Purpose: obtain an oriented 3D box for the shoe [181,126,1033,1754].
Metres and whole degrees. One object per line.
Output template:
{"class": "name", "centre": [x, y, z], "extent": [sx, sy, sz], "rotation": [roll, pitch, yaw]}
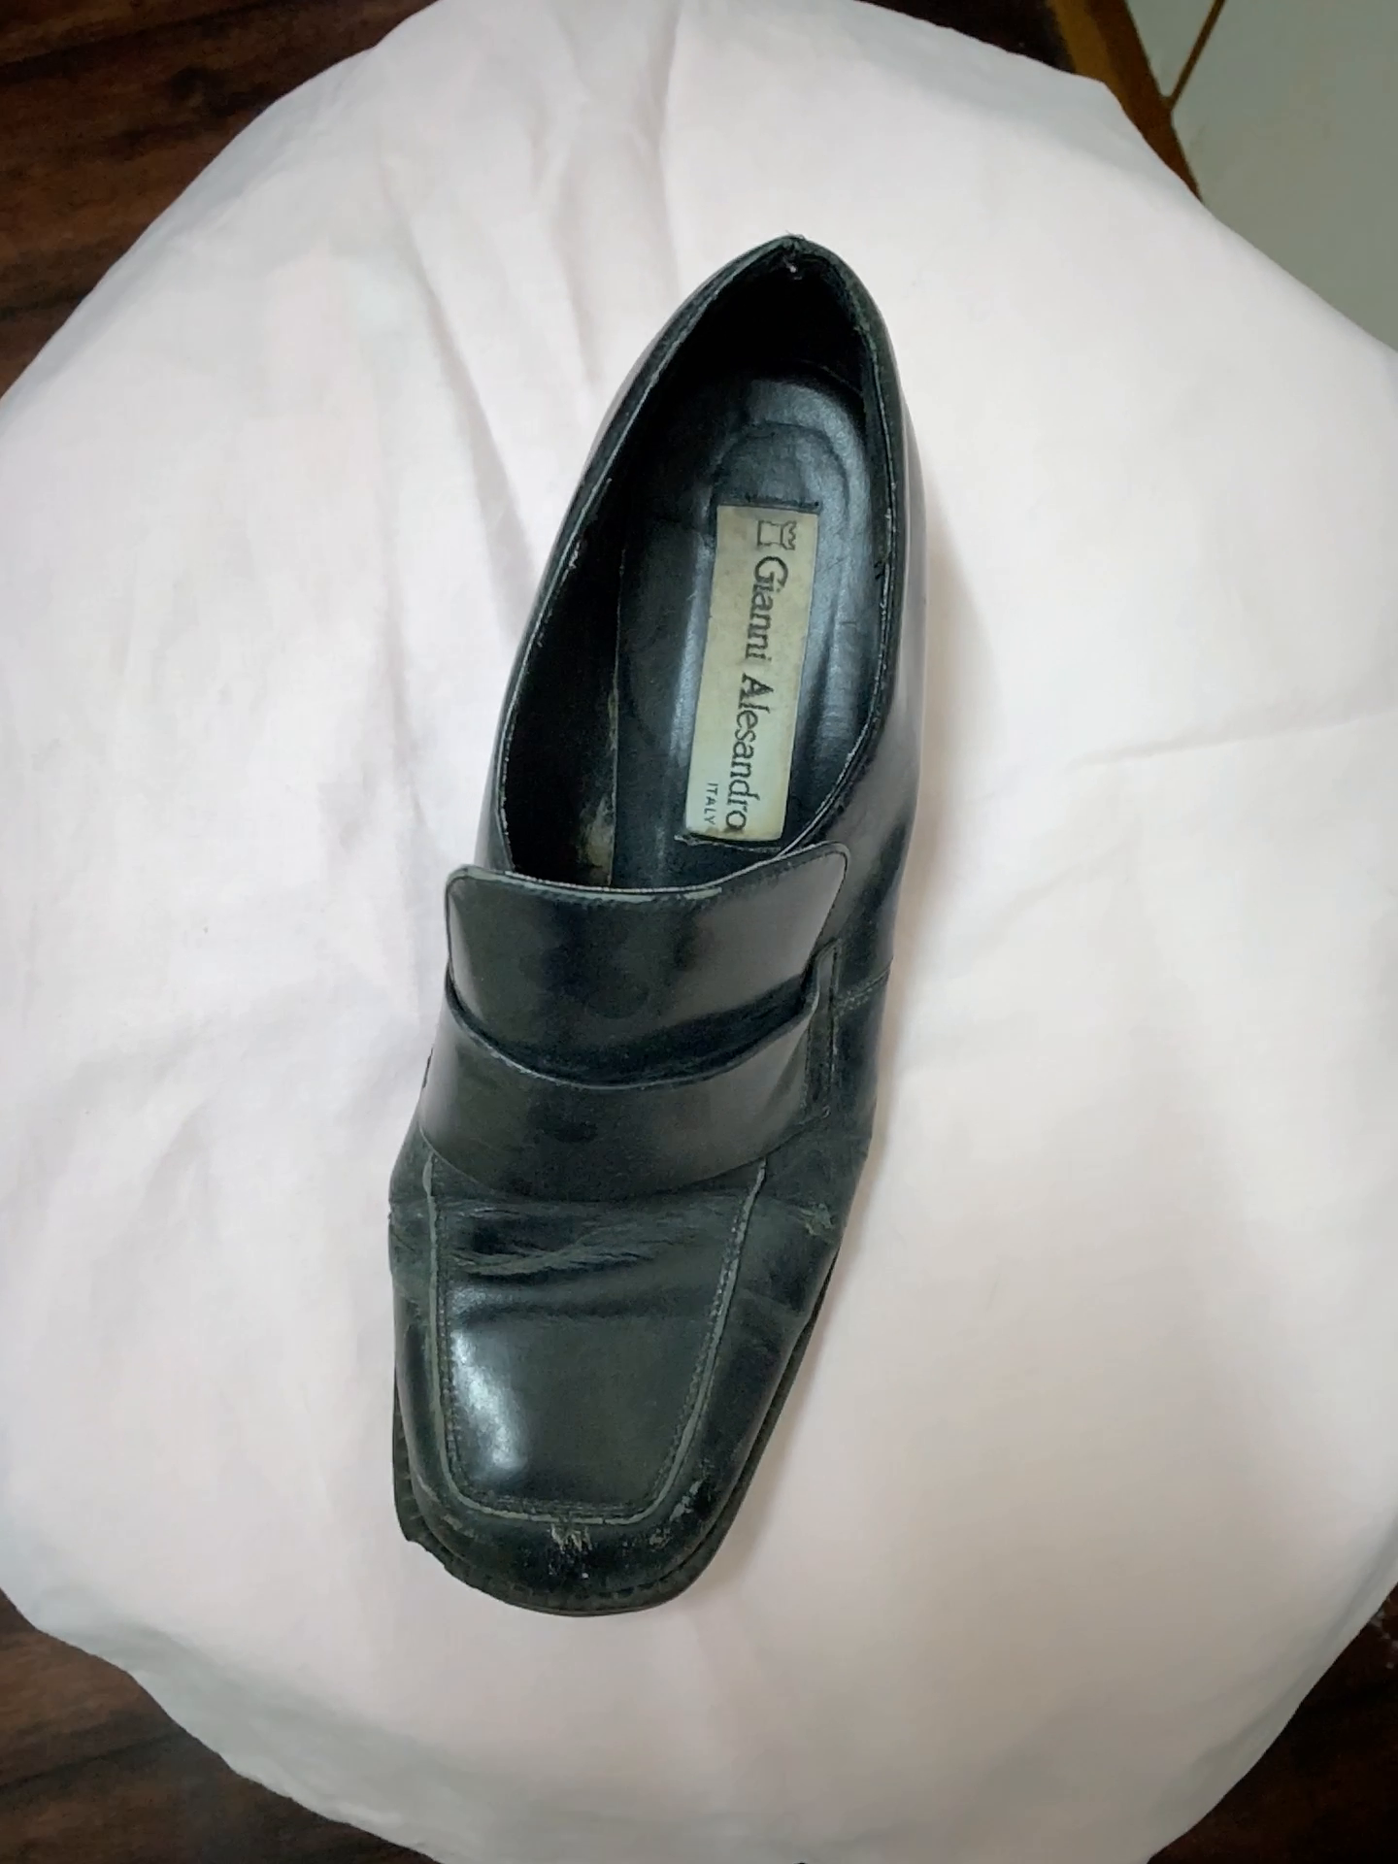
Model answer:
{"class": "shoe", "centre": [-0.009, -0.003, 0.266], "extent": [0.090, 0.092, 0.240], "rotation": [9, 81, 1]}
